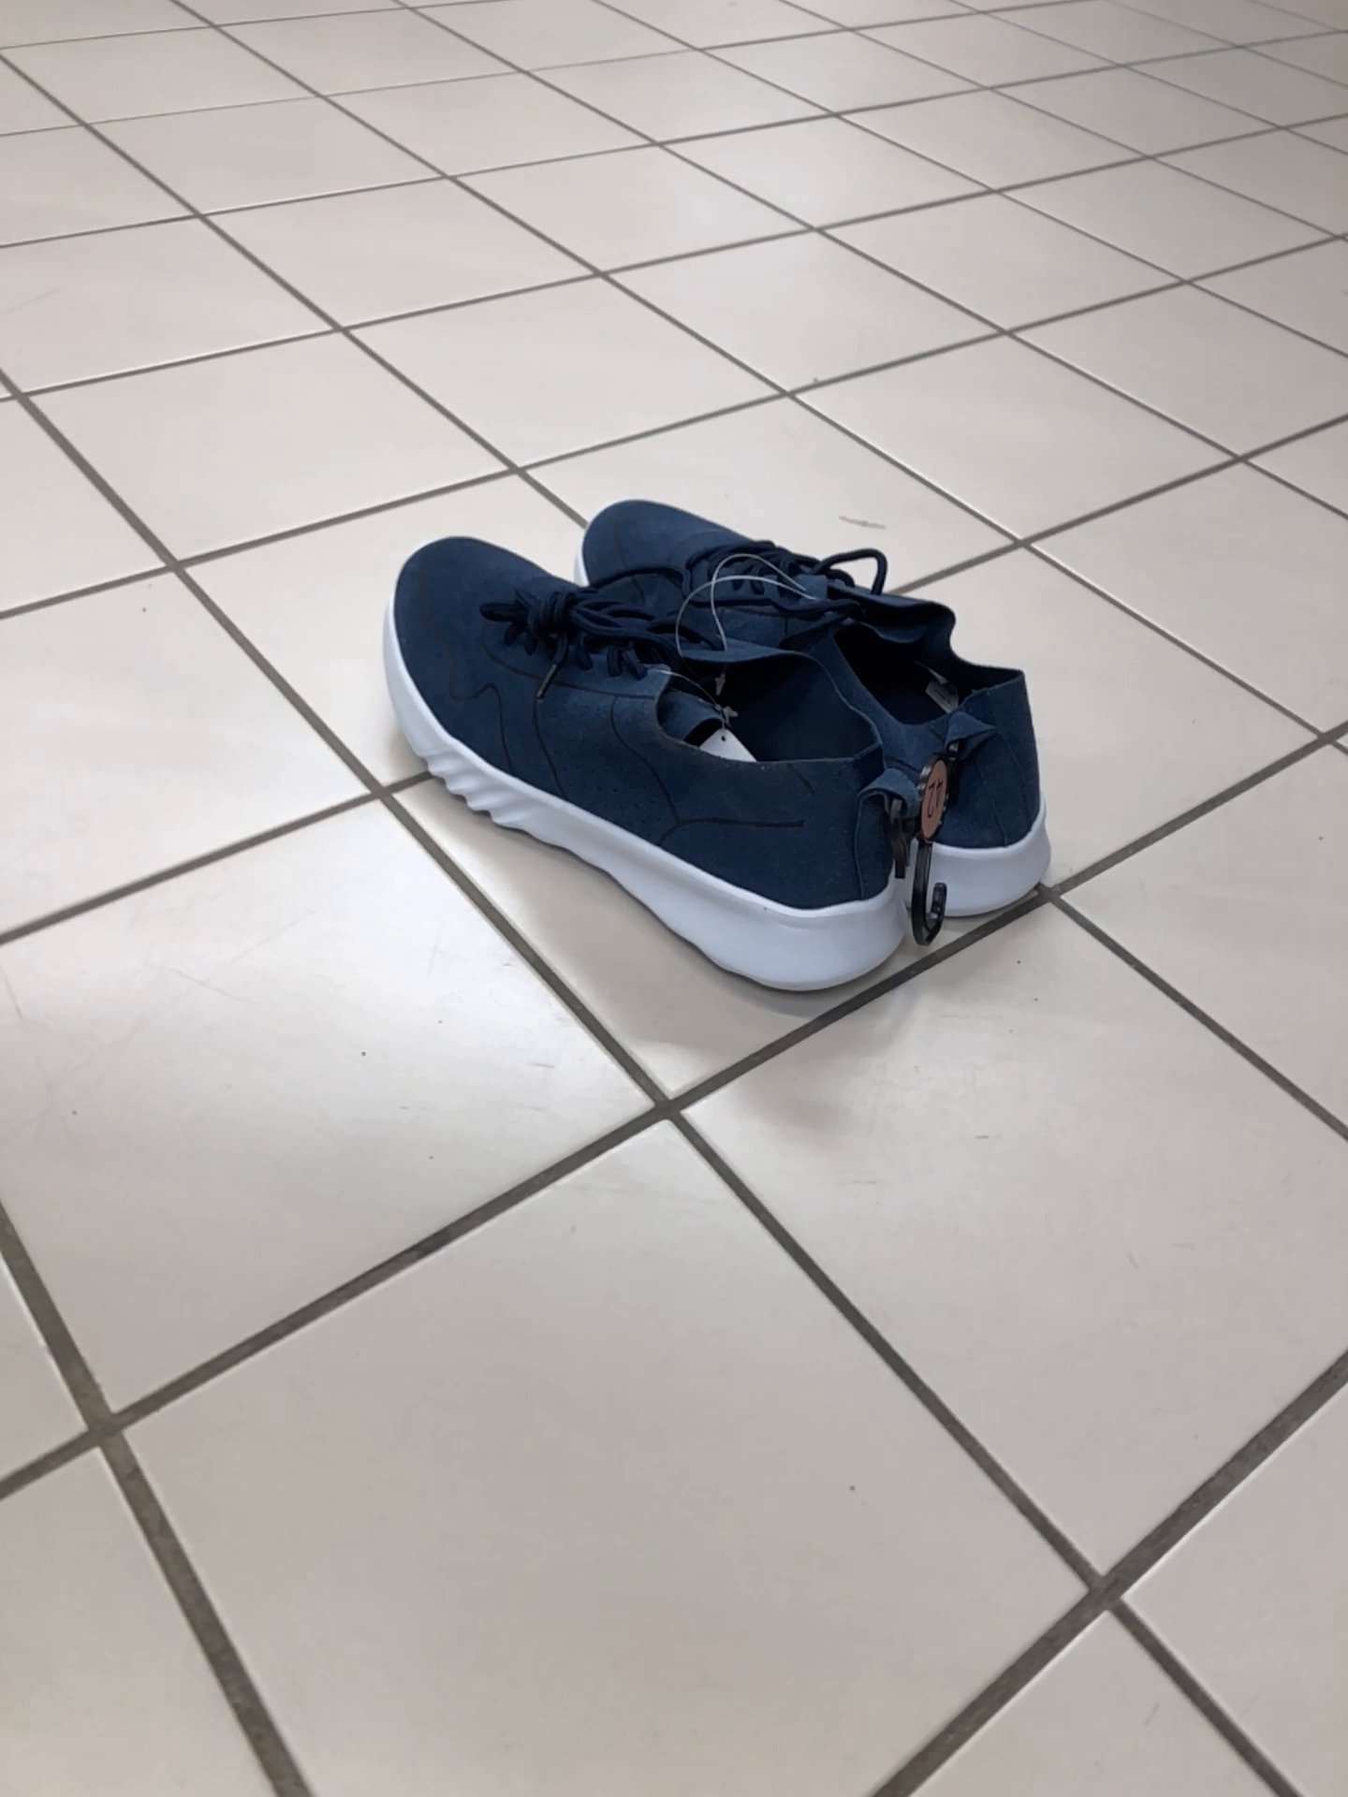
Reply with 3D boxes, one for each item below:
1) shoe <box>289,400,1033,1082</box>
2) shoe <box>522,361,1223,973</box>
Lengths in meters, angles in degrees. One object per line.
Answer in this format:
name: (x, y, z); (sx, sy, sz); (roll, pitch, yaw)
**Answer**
shoe: (-0.019, -0.075, 0.594); (0.290, 0.119, 0.101); (36, 51, 27)
shoe: (0.066, -0.112, 0.637); (0.101, 0.109, 0.290); (-30, 55, -32)
